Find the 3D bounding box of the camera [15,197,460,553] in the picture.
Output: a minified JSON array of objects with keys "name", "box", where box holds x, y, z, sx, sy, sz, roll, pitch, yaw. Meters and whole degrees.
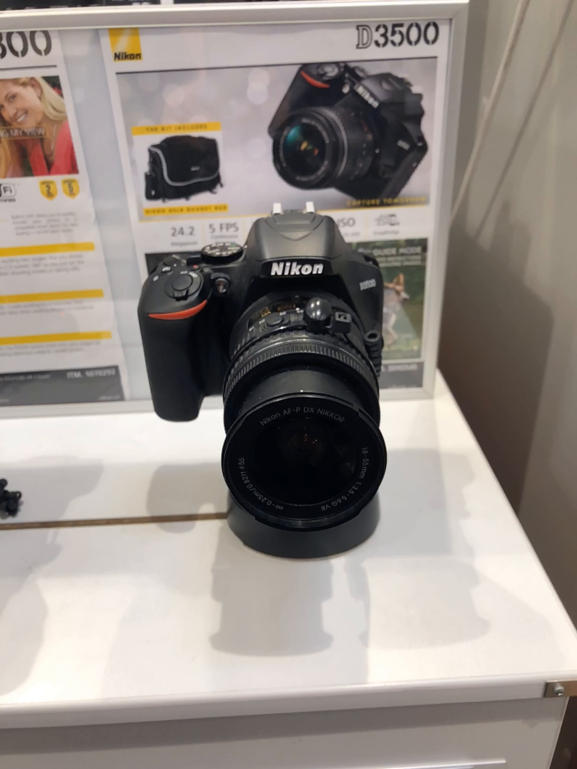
[{"name":"camera","box":[-0.015,-0.015,0.271,0.130,0.089,0.141,-2,29,-1]}]
